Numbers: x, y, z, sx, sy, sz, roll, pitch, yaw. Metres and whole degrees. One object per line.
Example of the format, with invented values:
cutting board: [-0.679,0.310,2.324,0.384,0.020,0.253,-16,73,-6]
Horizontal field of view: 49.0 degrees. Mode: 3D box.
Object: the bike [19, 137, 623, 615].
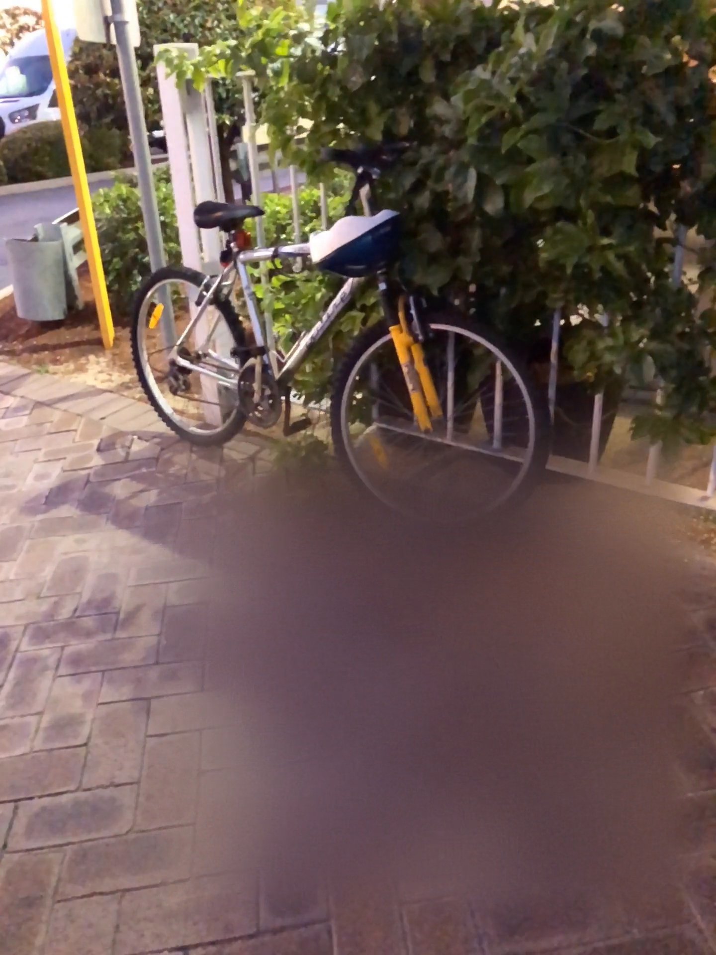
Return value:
bike: [-0.191,-0.438,2.317,1.696,0.995,0.553,17,32,35]
